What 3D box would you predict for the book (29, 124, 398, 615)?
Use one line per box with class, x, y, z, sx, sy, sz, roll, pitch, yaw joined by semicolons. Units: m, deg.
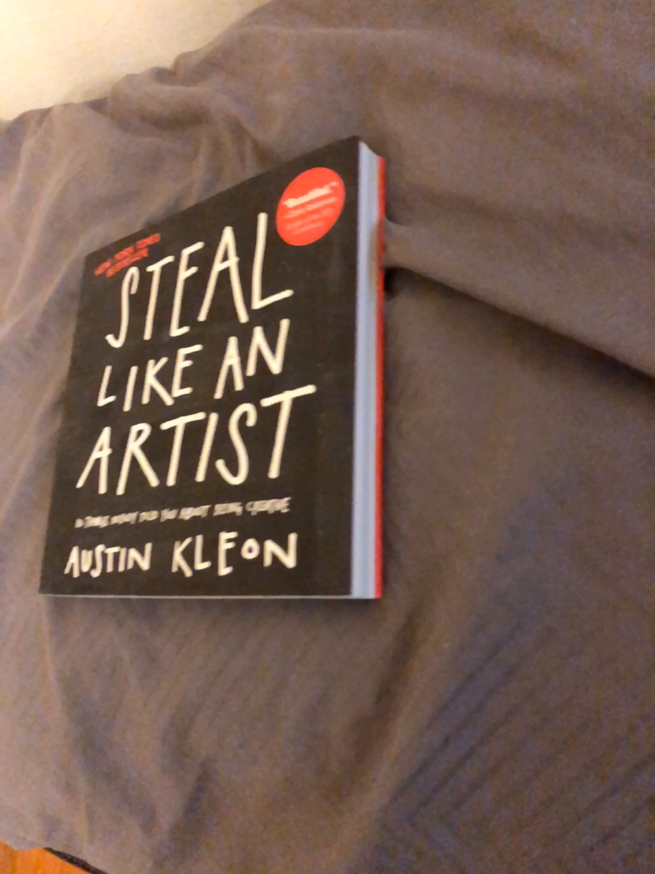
book;-0.048;-0.016;0.278;0.160;0.020;0.160;-8;72;34
